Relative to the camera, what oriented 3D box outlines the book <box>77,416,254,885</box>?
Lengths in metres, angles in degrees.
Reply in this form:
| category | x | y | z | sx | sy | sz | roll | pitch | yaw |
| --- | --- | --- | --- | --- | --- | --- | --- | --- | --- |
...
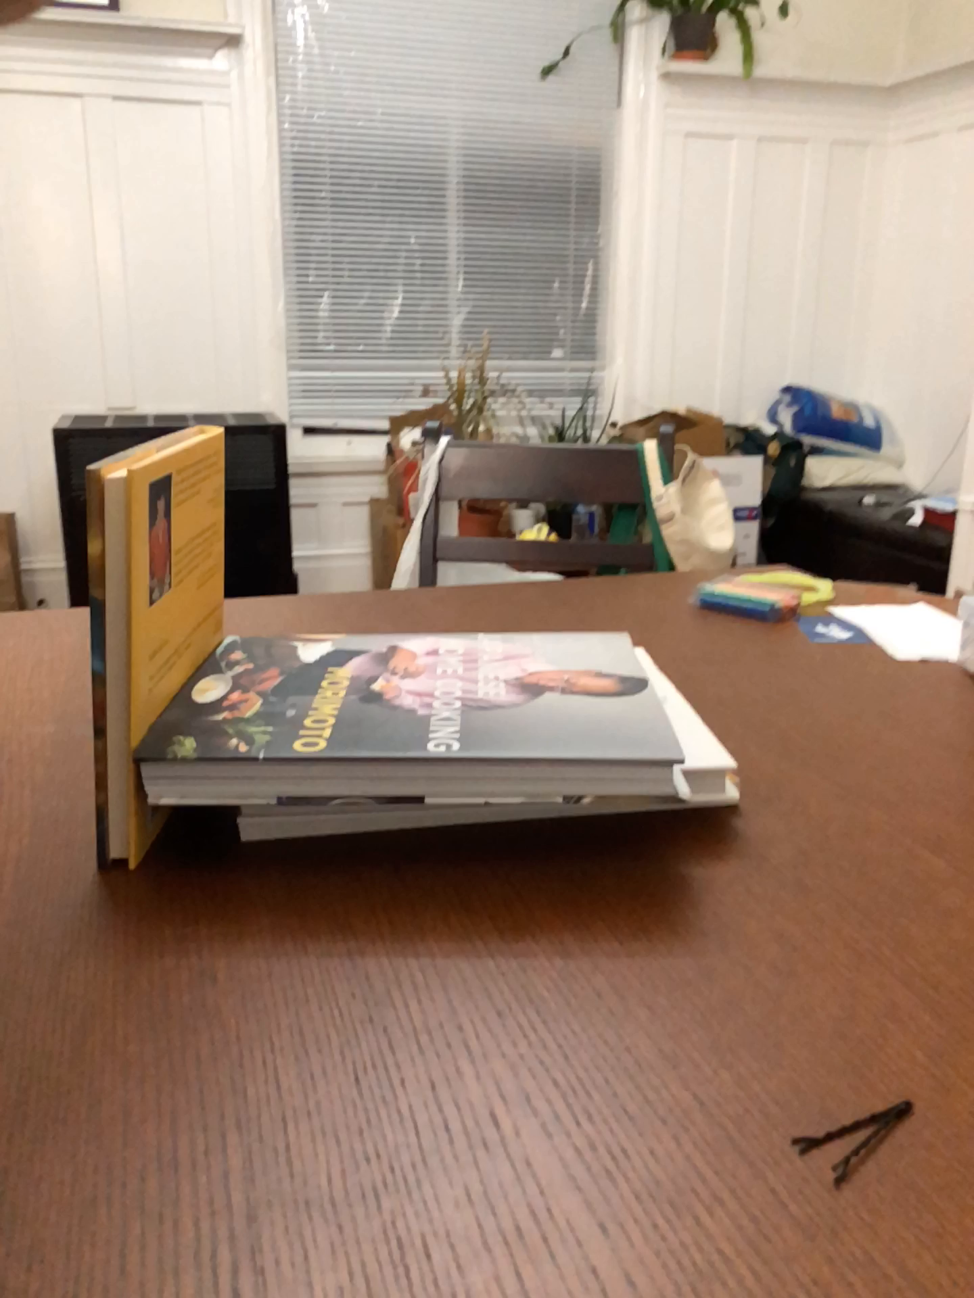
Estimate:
| category | x | y | z | sx | sy | sz | roll | pitch | yaw |
| --- | --- | --- | --- | --- | --- | --- | --- | --- | --- |
| book | -0.171 | -0.014 | 0.605 | 0.030 | 0.209 | 0.211 | 3 | 17 | 0 |

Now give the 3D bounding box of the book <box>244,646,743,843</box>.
| category | x | y | z | sx | sy | sz | roll | pitch | yaw |
| --- | --- | --- | --- | --- | --- | --- | --- | --- | --- |
| book | -0.009 | 0.051 | 0.699 | 0.280 | 0.030 | 0.221 | -3 | 17 | -9 |

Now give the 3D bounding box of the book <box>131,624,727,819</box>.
| category | x | y | z | sx | sy | sz | roll | pitch | yaw |
| --- | --- | --- | --- | --- | --- | --- | --- | --- | --- |
| book | -0.030 | 0.032 | 0.613 | 0.280 | 0.030 | 0.221 | -1 | 16 | -2 |

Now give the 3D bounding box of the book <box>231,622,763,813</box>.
| category | x | y | z | sx | sy | sz | roll | pitch | yaw |
| --- | --- | --- | --- | --- | --- | --- | --- | --- | --- |
| book | -0.004 | 0.032 | 0.667 | 0.280 | 0.030 | 0.221 | -3 | 17 | -7 |
